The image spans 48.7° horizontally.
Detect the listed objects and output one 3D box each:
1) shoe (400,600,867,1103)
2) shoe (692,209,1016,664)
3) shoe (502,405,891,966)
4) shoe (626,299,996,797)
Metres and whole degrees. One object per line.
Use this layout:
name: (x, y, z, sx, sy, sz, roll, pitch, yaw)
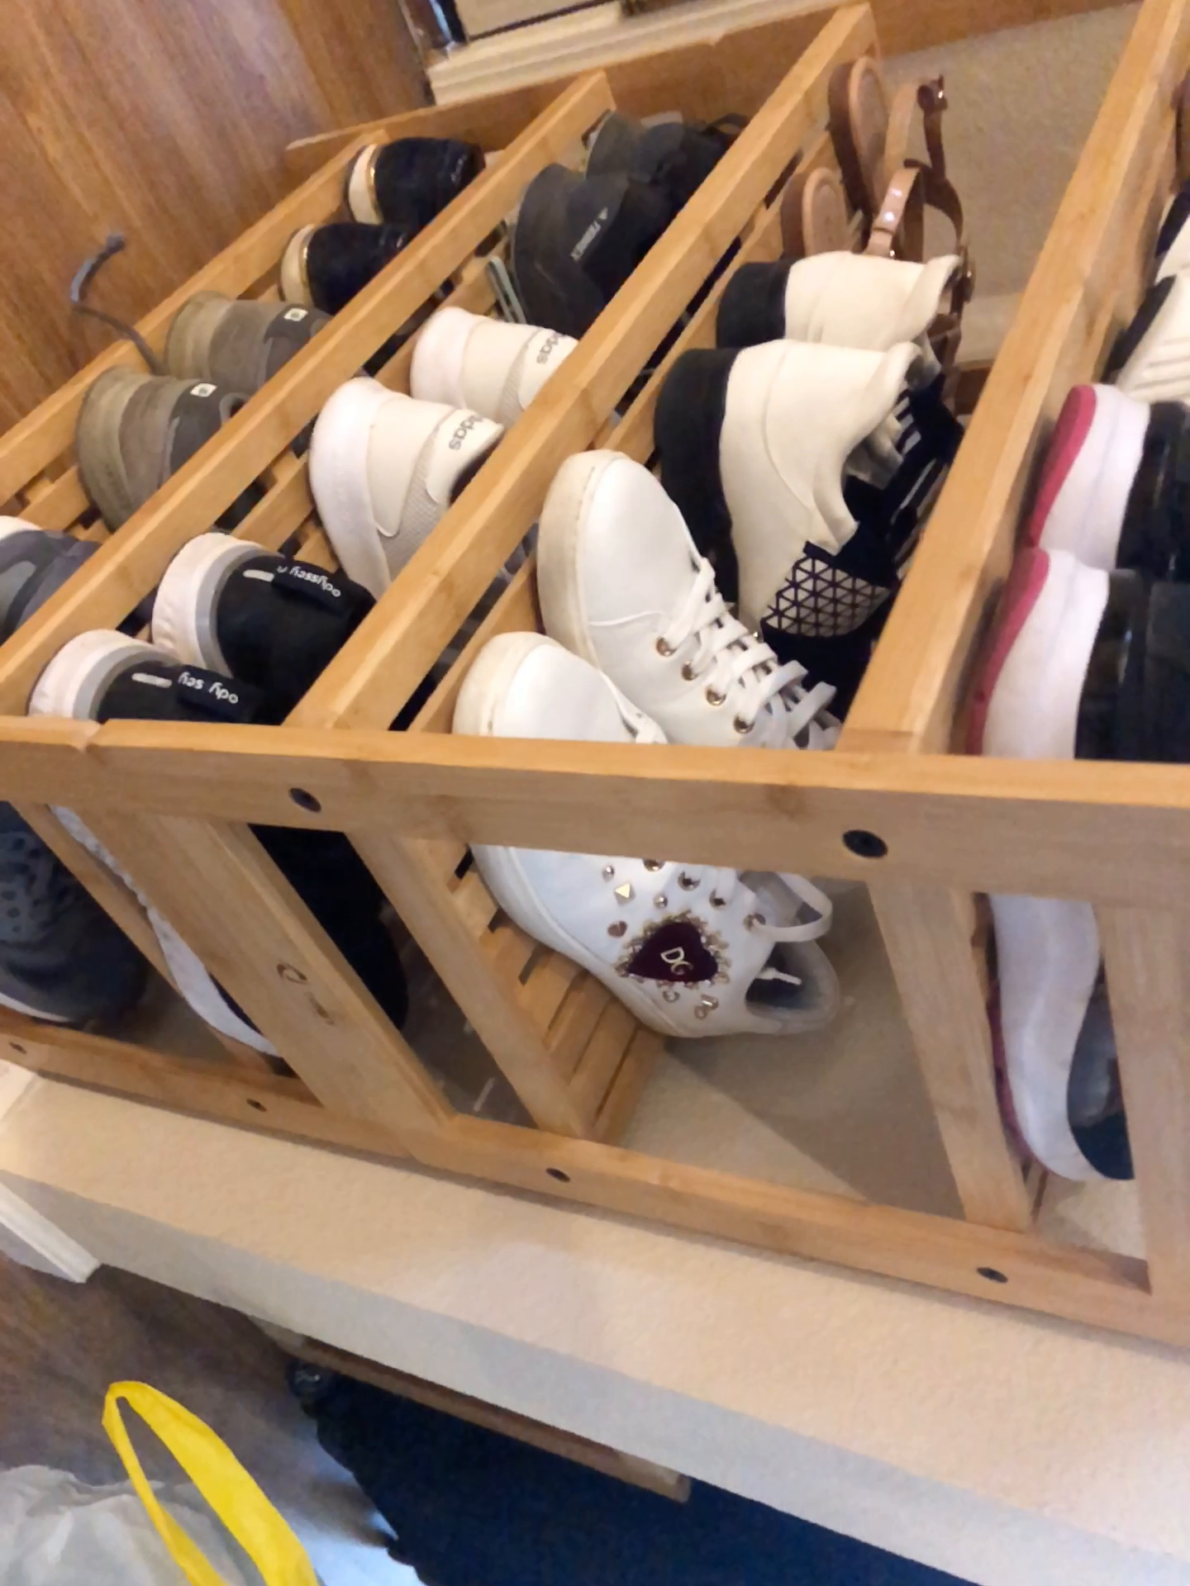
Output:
shoe: (0.034, 0.037, 0.571, 0.262, 0.080, 0.100, 50, 51, -49)
shoe: (0.147, -0.181, 0.708, 0.090, 0.113, 0.211, -58, 139, -39)
shoe: (0.058, -0.035, 0.577, 0.251, 0.070, 0.090, 60, 44, -43)
shoe: (0.113, -0.110, 0.636, 0.090, 0.113, 0.211, -58, 139, -39)
